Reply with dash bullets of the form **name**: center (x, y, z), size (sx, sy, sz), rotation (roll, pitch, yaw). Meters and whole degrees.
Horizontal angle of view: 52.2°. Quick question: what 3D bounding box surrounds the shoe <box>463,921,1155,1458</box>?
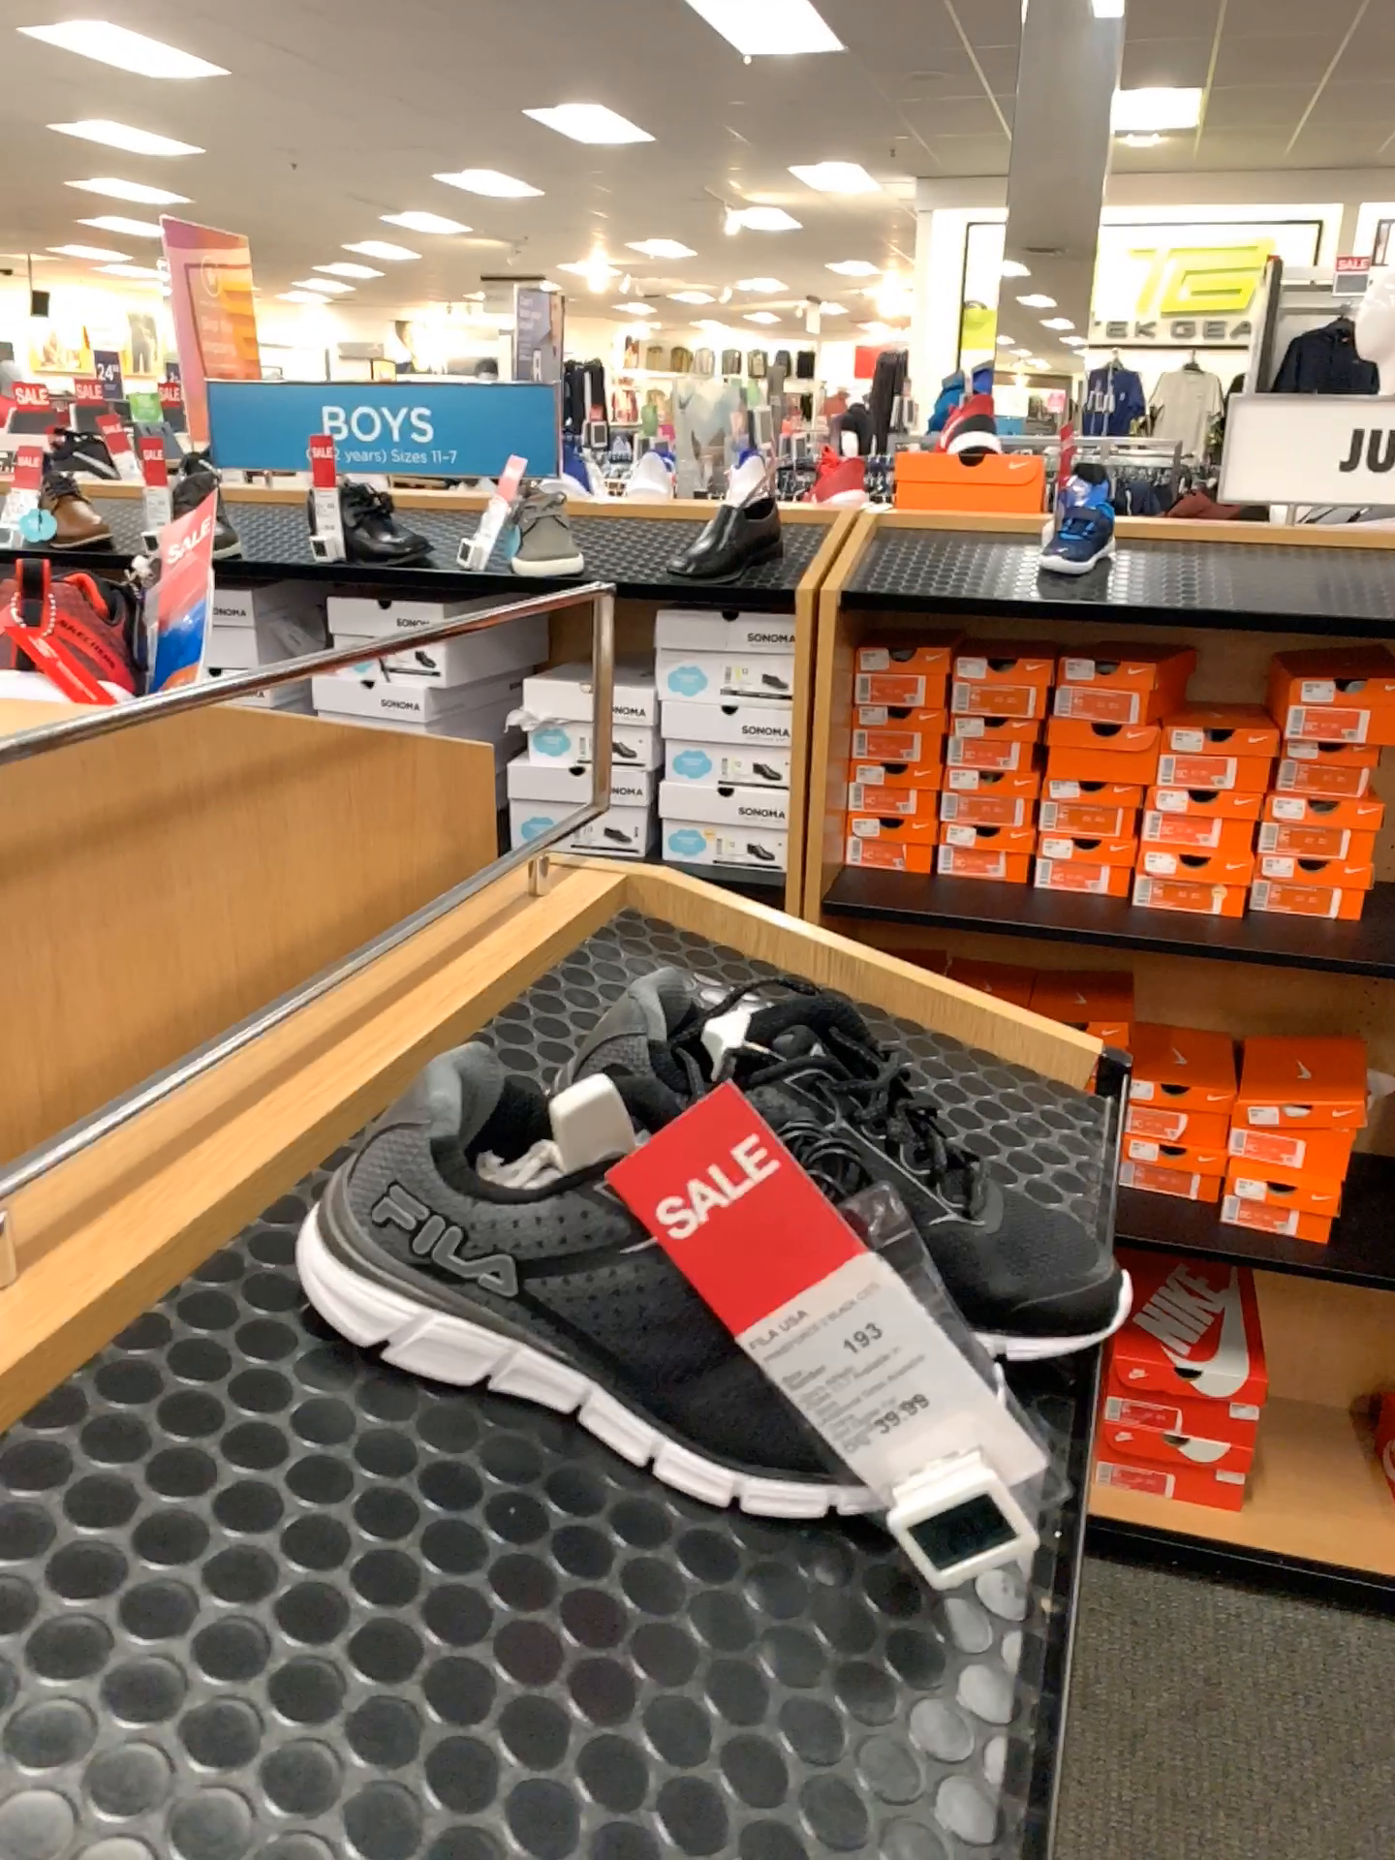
- **shoe**: center (0.046, 0.100, 0.573), size (0.244, 0.089, 0.101), rotation (21, 32, 3)

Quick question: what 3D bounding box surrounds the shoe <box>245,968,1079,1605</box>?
- **shoe**: center (-0.009, 0.114, 0.485), size (0.244, 0.090, 0.100), rotation (22, 21, 0)
